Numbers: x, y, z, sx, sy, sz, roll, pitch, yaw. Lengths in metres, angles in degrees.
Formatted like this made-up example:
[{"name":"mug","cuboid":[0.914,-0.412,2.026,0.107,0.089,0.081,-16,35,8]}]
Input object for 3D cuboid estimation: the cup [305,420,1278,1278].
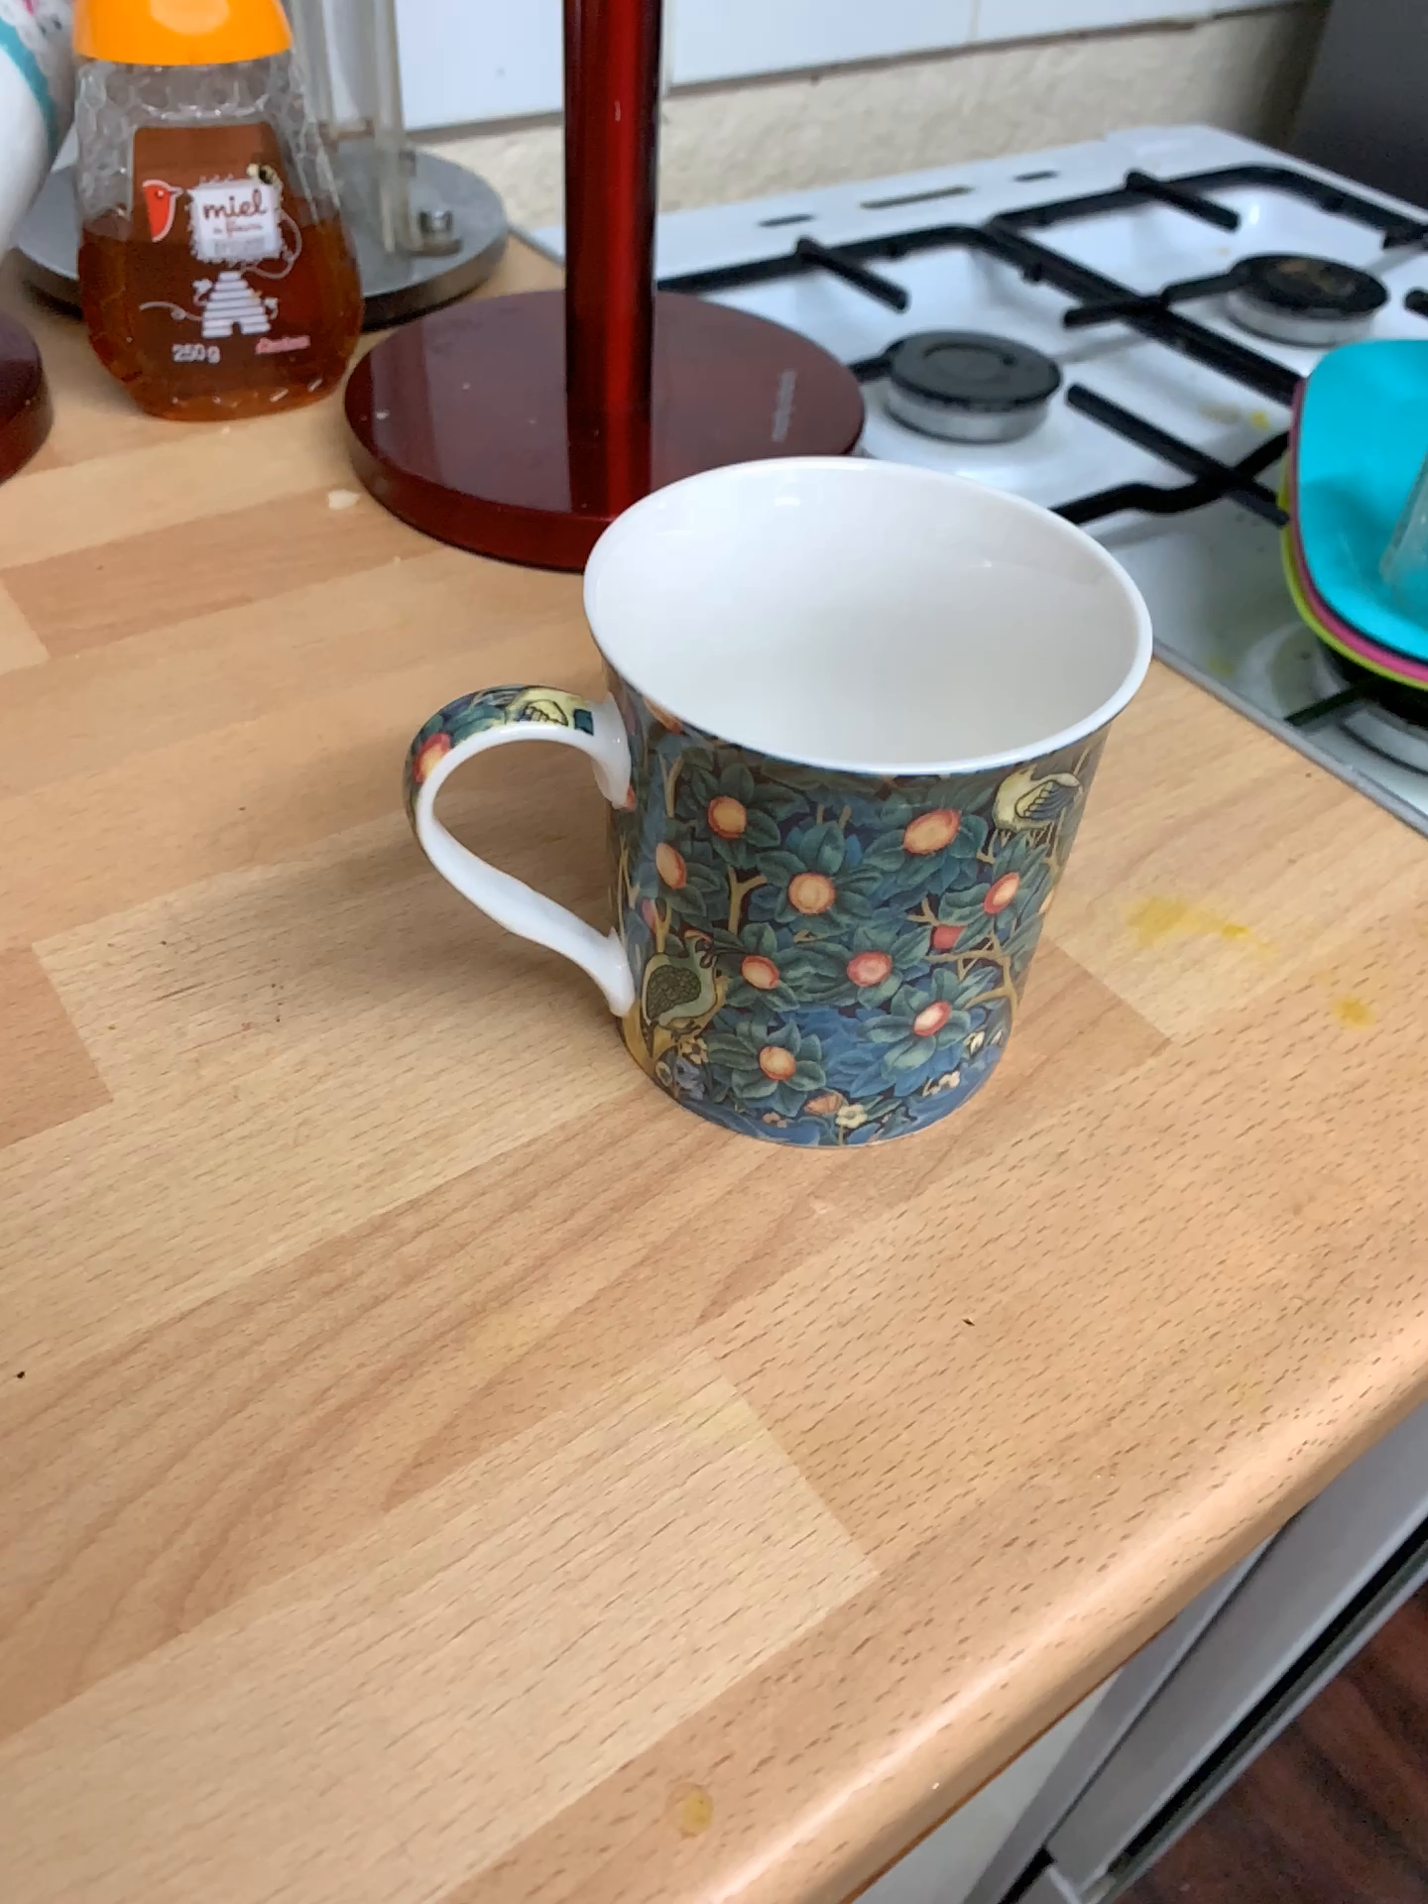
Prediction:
[{"name":"cup","cuboid":[0.004,-0.022,0.249,0.120,0.089,0.091,-10,46,-15]}]
